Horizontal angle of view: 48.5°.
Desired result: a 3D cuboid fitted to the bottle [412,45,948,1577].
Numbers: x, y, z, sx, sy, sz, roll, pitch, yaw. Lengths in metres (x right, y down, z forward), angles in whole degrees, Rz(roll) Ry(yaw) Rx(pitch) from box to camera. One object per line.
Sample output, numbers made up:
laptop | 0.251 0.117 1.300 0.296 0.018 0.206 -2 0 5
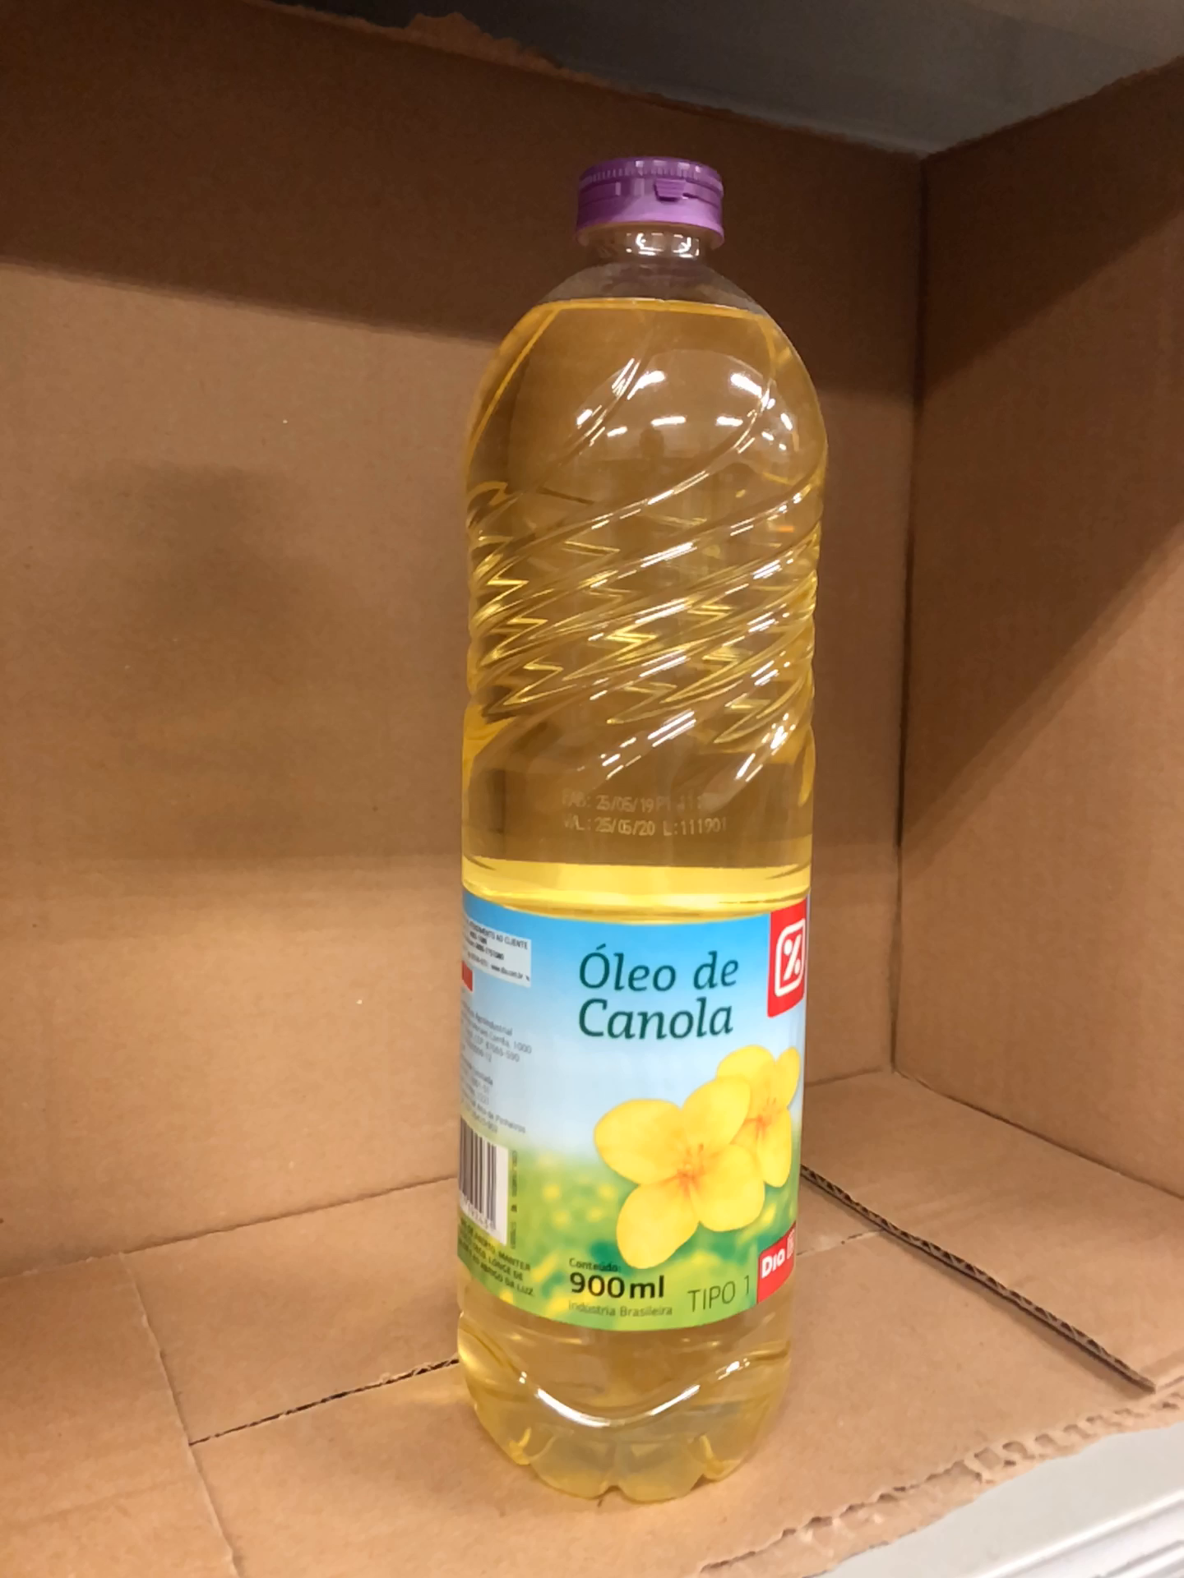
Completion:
bottle | 0.013 0.010 0.267 0.080 0.269 0.050 -3 11 -30
